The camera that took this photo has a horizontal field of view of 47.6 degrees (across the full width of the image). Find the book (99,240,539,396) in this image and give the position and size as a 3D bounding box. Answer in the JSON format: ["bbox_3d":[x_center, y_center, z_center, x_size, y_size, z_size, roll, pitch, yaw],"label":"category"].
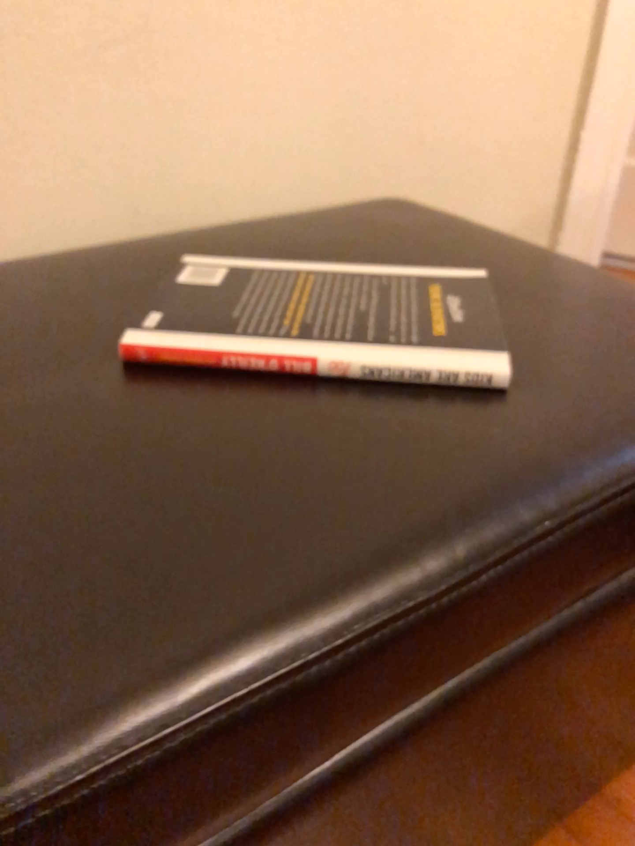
[{"bbox_3d":[0.005,-0.073,0.448,0.230,0.020,0.161,4,32,3],"label":"book"}]
